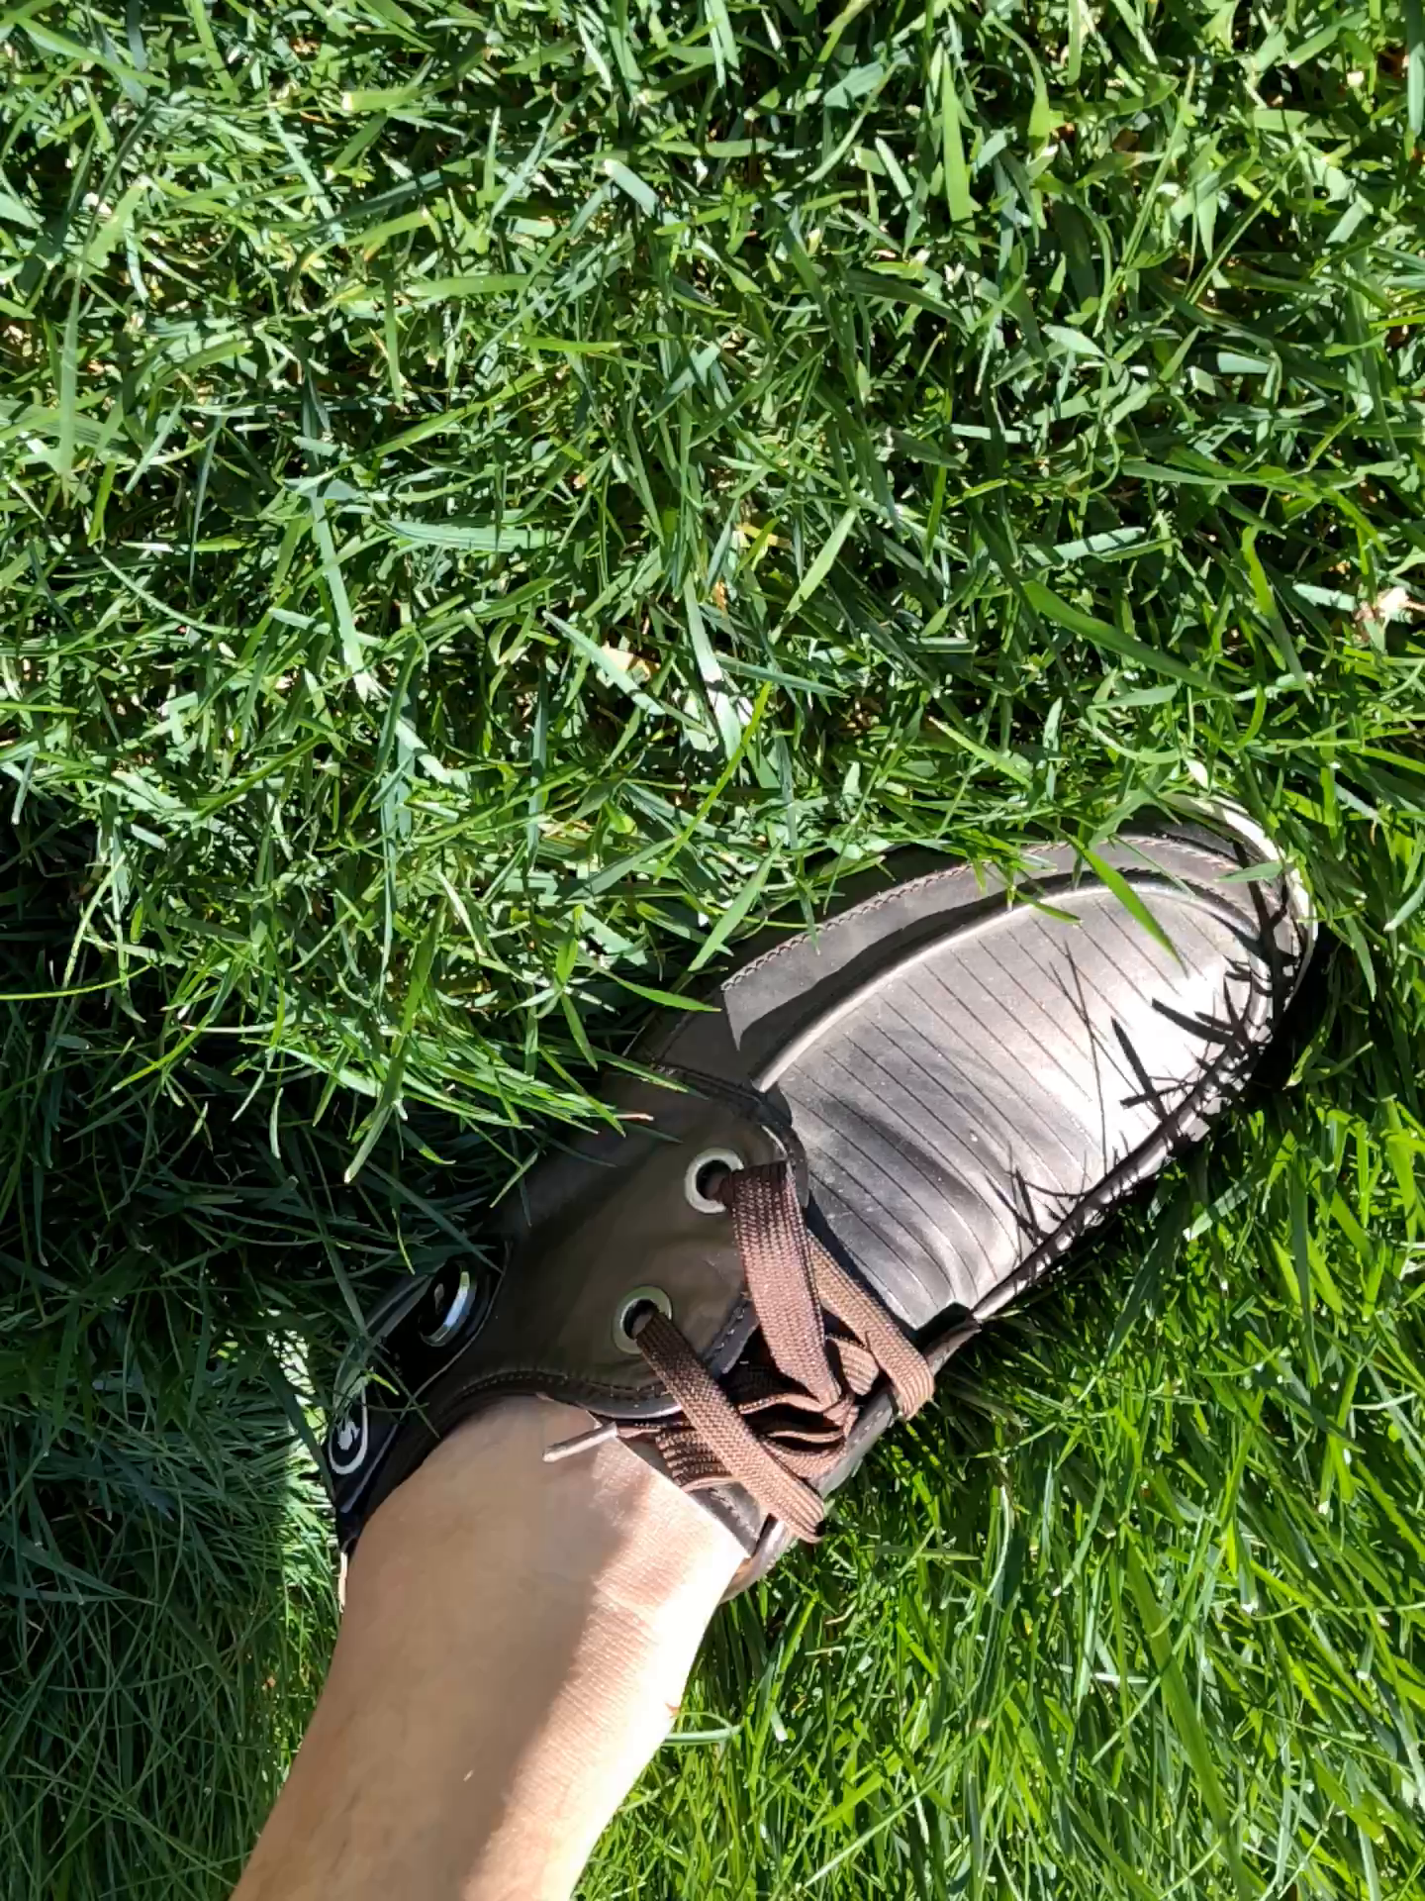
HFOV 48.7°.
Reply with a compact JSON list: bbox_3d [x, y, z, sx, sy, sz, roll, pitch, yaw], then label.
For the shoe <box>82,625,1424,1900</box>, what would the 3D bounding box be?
[{"bbox_3d":[0.014,0.077,0.336,0.280,0.093,0.112,-41,107,17],"label":"shoe"}]
